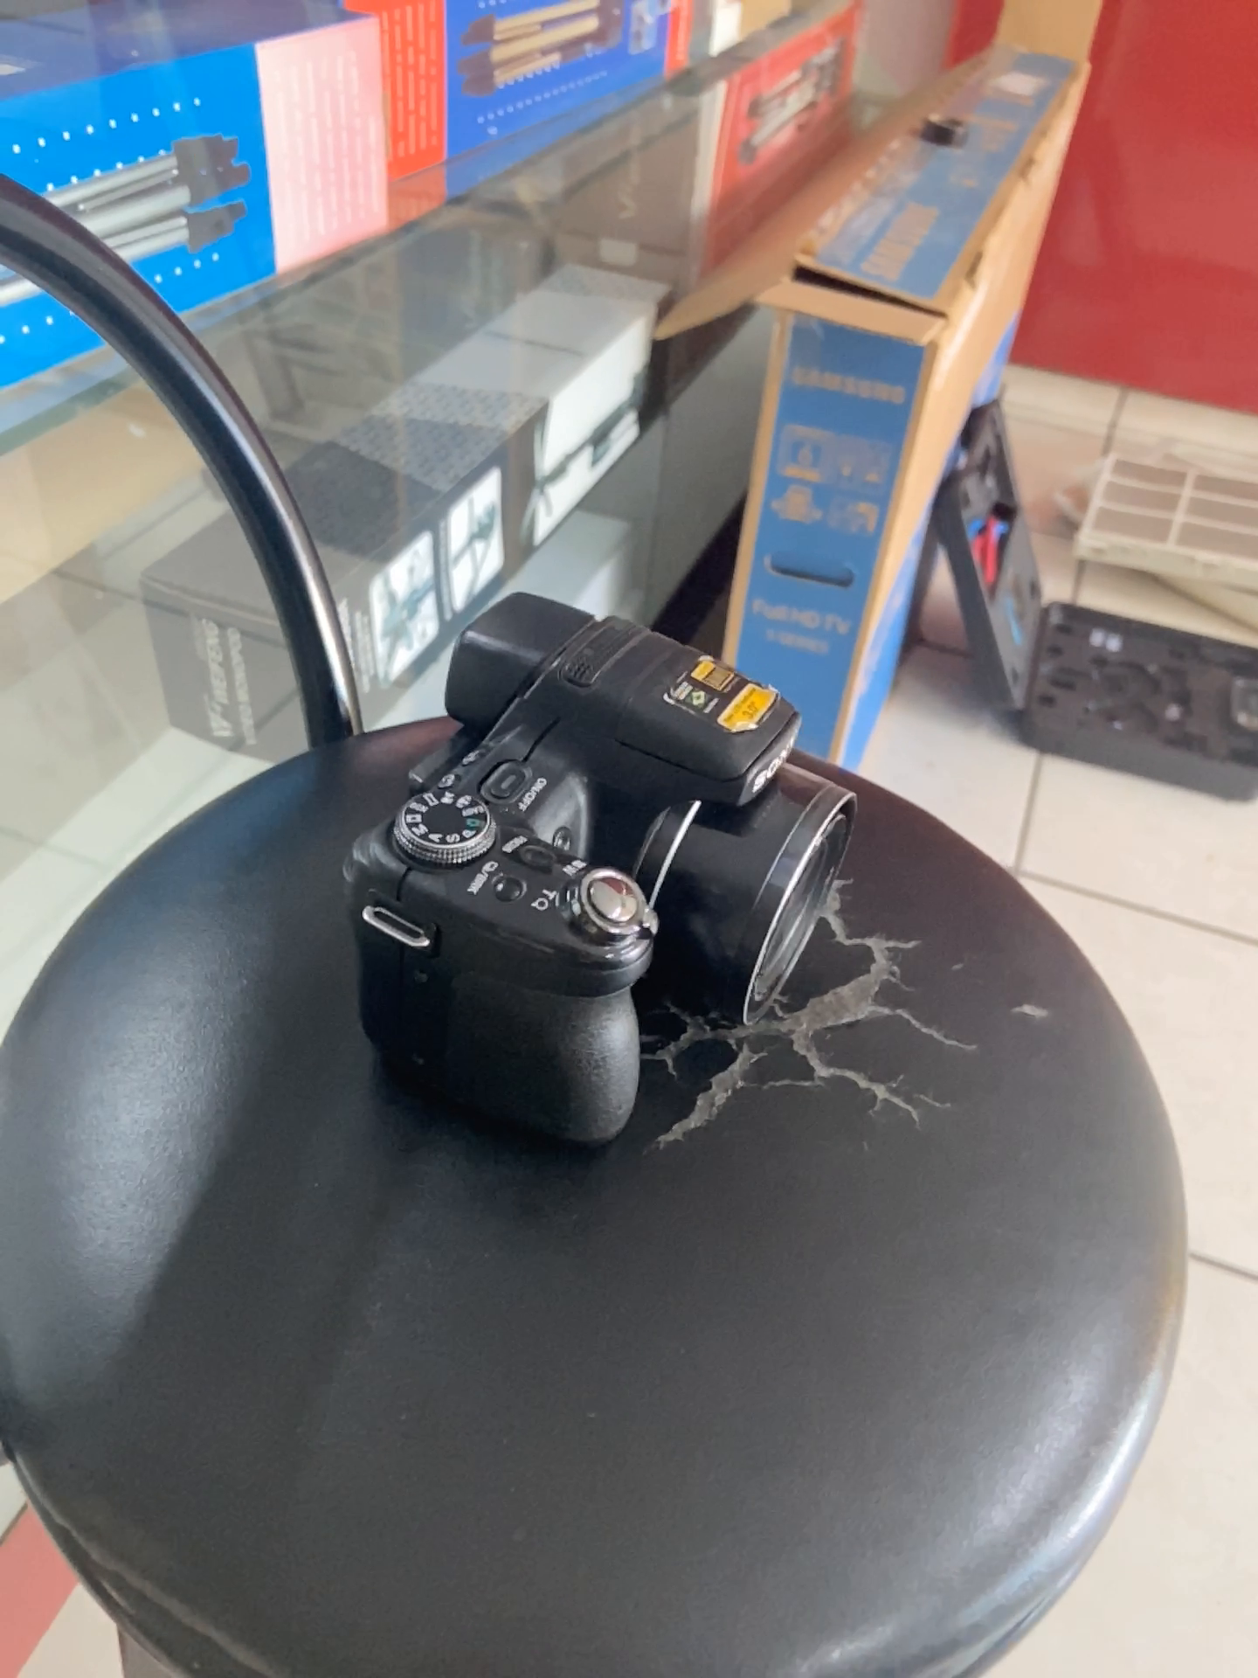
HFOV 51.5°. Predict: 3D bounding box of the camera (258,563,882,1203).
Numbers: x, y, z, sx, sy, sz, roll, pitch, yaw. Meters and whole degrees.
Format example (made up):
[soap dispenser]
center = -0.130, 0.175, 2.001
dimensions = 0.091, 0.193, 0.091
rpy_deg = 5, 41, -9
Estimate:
[camera]
center = -0.012, 0.004, 0.313
dimensions = 0.100, 0.080, 0.101
rpy_deg = 23, 44, 19
